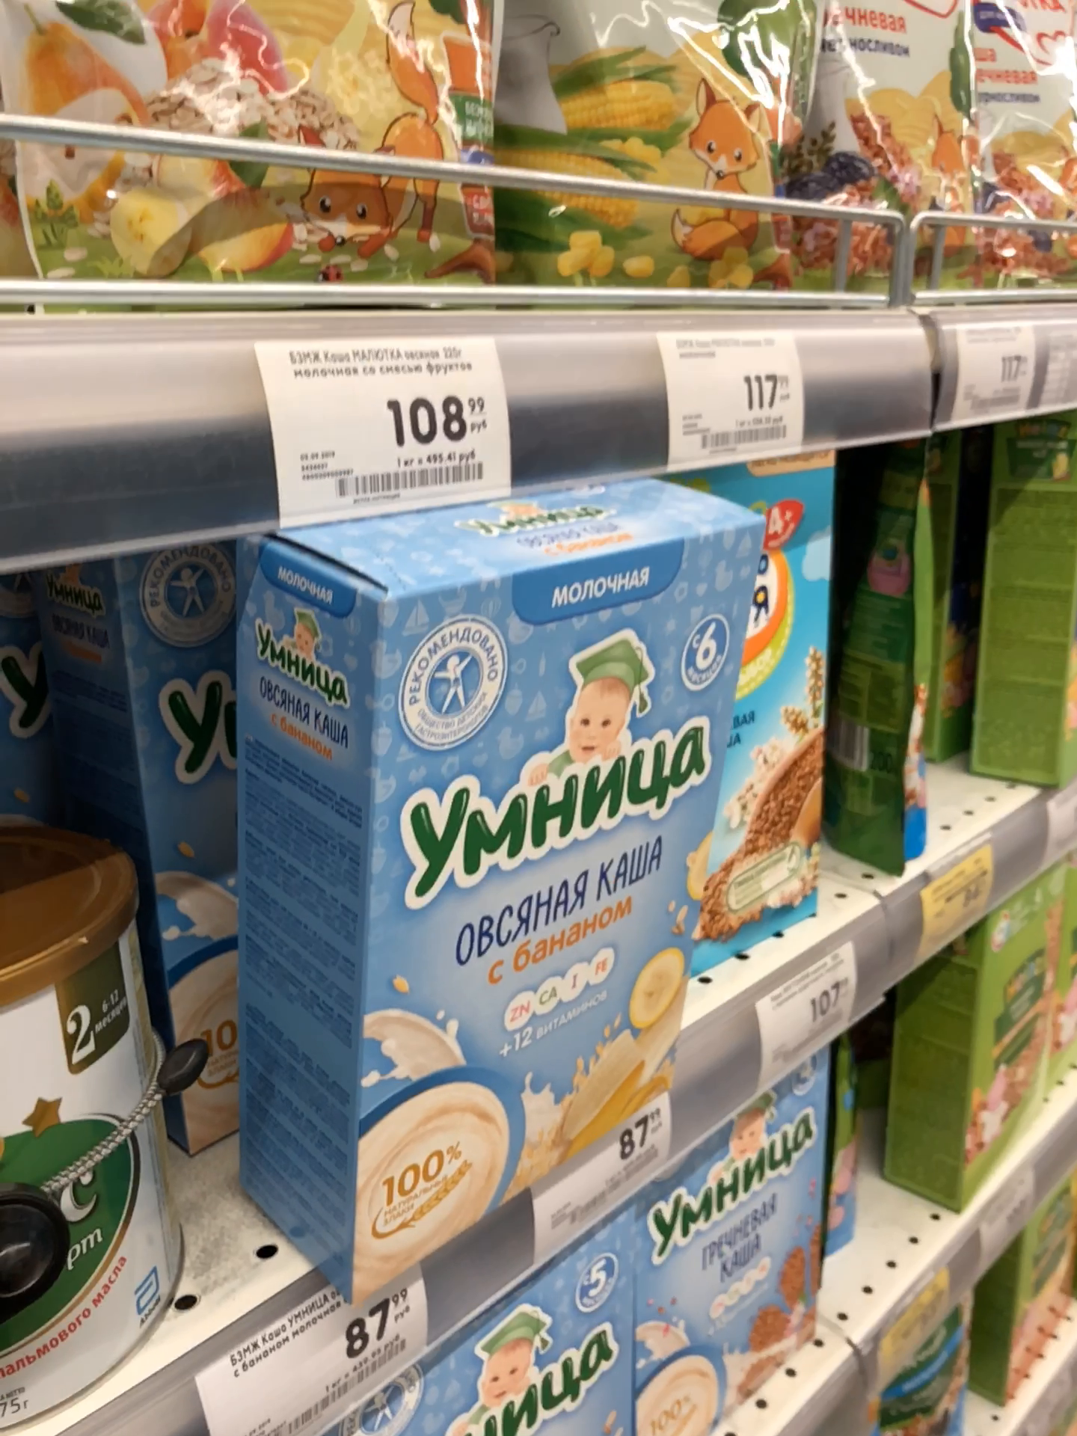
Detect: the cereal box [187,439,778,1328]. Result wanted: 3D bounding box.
[{"bbox_3d":[-0.014,0.036,0.345,0.060,0.209,0.150,24,29,39],"label":"cereal box"}]
